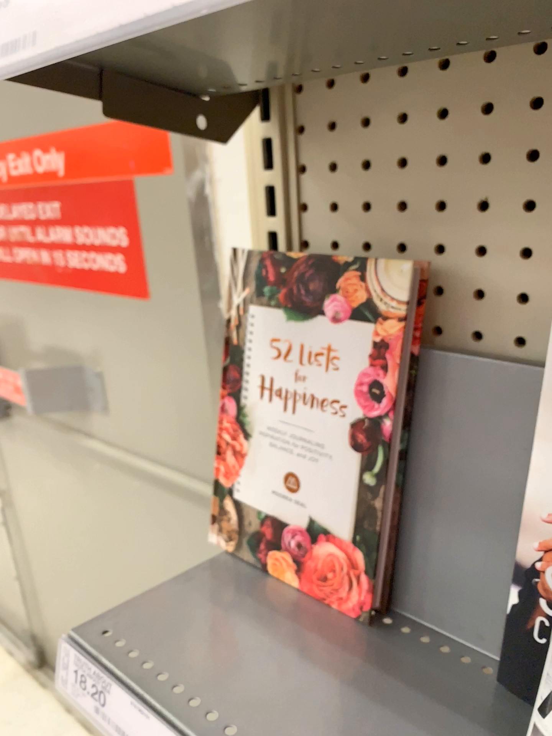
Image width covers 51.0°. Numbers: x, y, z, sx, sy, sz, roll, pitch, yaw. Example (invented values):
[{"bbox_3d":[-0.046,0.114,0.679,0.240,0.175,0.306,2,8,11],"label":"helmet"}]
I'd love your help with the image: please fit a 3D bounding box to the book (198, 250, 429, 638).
[{"bbox_3d":[0.013,0.037,0.375,0.150,0.216,0.020,12,12,40],"label":"book"}]
